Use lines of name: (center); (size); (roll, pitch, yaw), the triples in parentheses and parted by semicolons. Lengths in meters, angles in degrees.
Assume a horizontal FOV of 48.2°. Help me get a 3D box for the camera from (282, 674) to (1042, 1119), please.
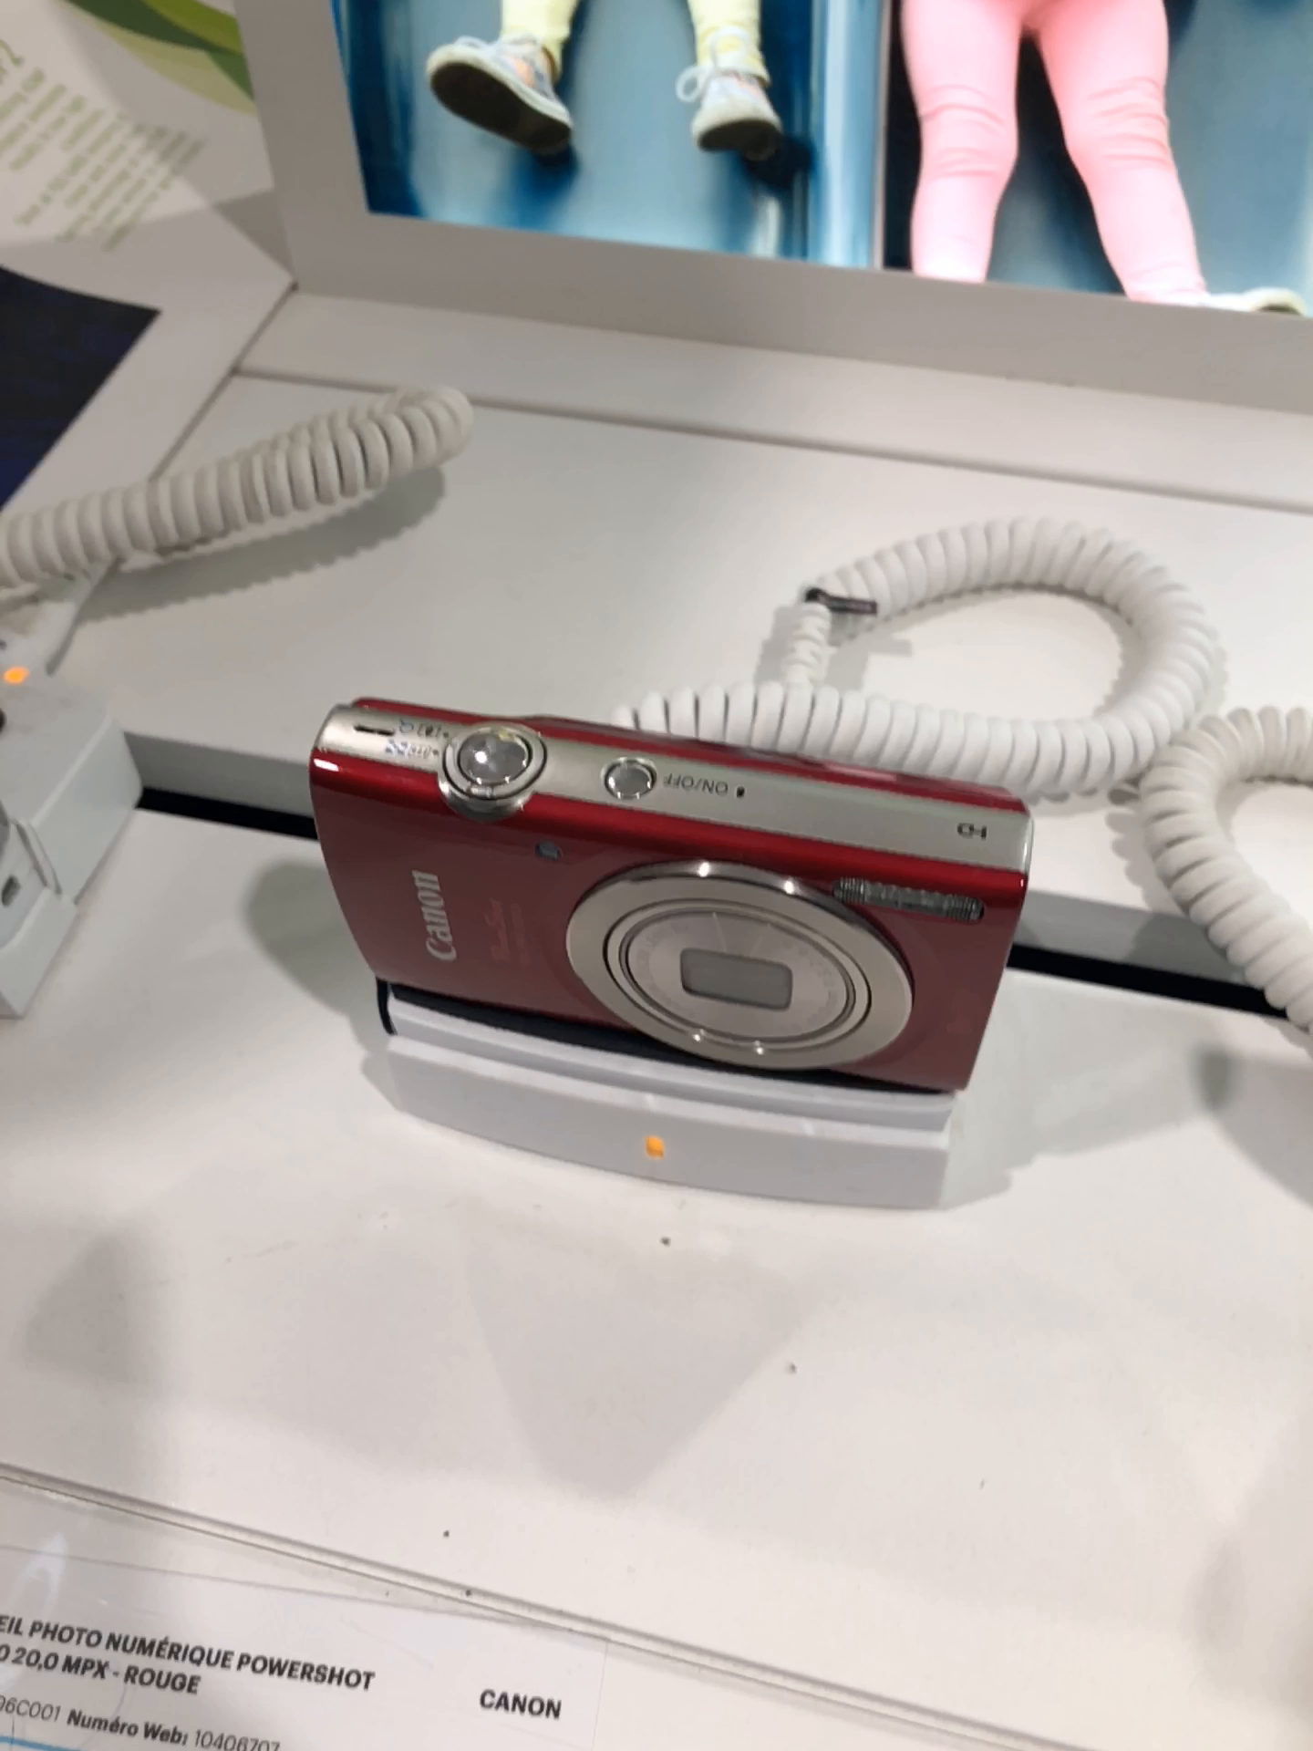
camera: (0.001, 0.004, 0.203); (0.093, 0.050, 0.022); (9, 51, 9)
